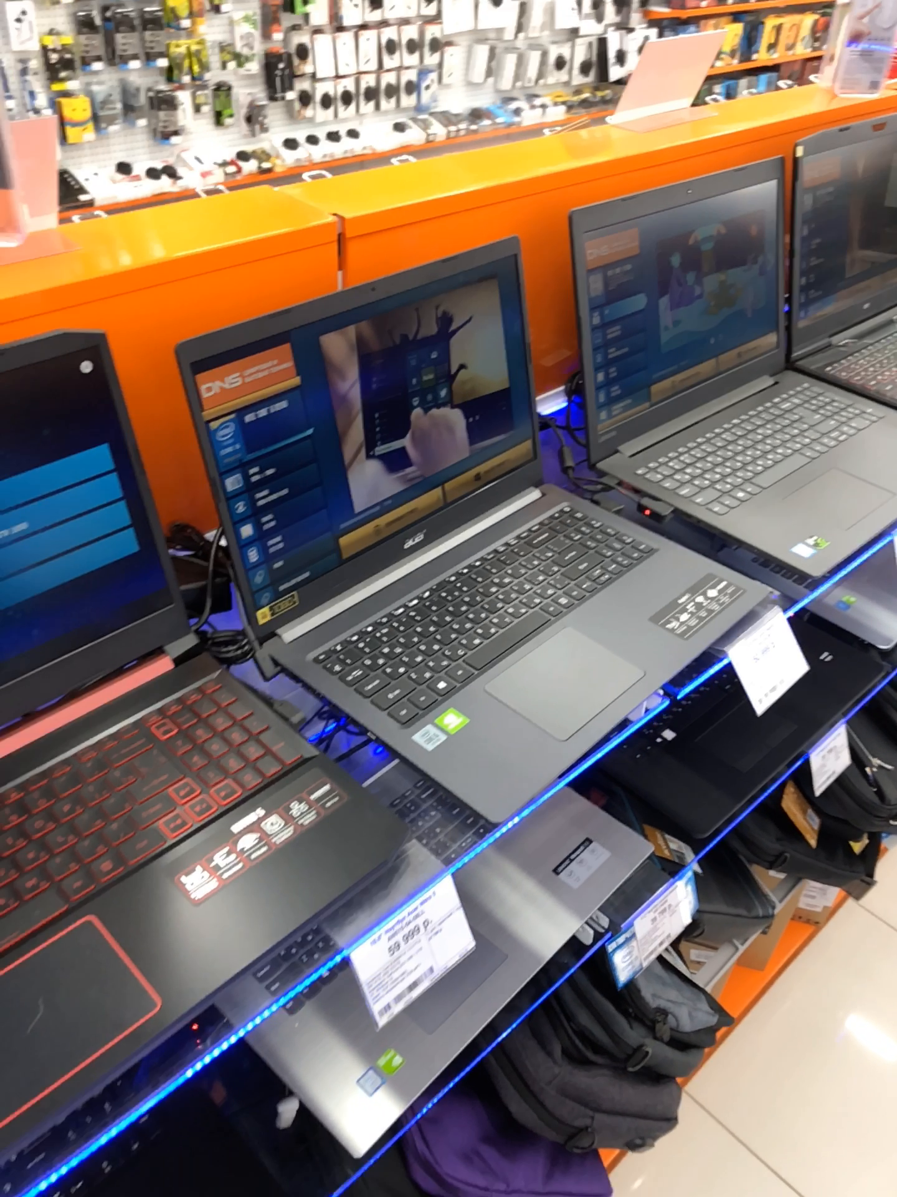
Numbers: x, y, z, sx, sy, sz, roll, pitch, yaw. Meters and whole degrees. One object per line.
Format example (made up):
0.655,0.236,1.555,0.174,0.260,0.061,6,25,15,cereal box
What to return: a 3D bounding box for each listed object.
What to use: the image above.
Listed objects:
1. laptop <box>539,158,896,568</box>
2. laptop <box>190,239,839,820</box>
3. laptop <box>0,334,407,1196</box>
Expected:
0.349,-0.260,0.993,0.349,0.230,0.323,-29,49,-35,laptop
0.050,-0.088,0.758,0.303,0.224,0.354,31,45,32,laptop
-0.242,0.047,0.529,0.301,0.230,0.310,30,42,30,laptop
